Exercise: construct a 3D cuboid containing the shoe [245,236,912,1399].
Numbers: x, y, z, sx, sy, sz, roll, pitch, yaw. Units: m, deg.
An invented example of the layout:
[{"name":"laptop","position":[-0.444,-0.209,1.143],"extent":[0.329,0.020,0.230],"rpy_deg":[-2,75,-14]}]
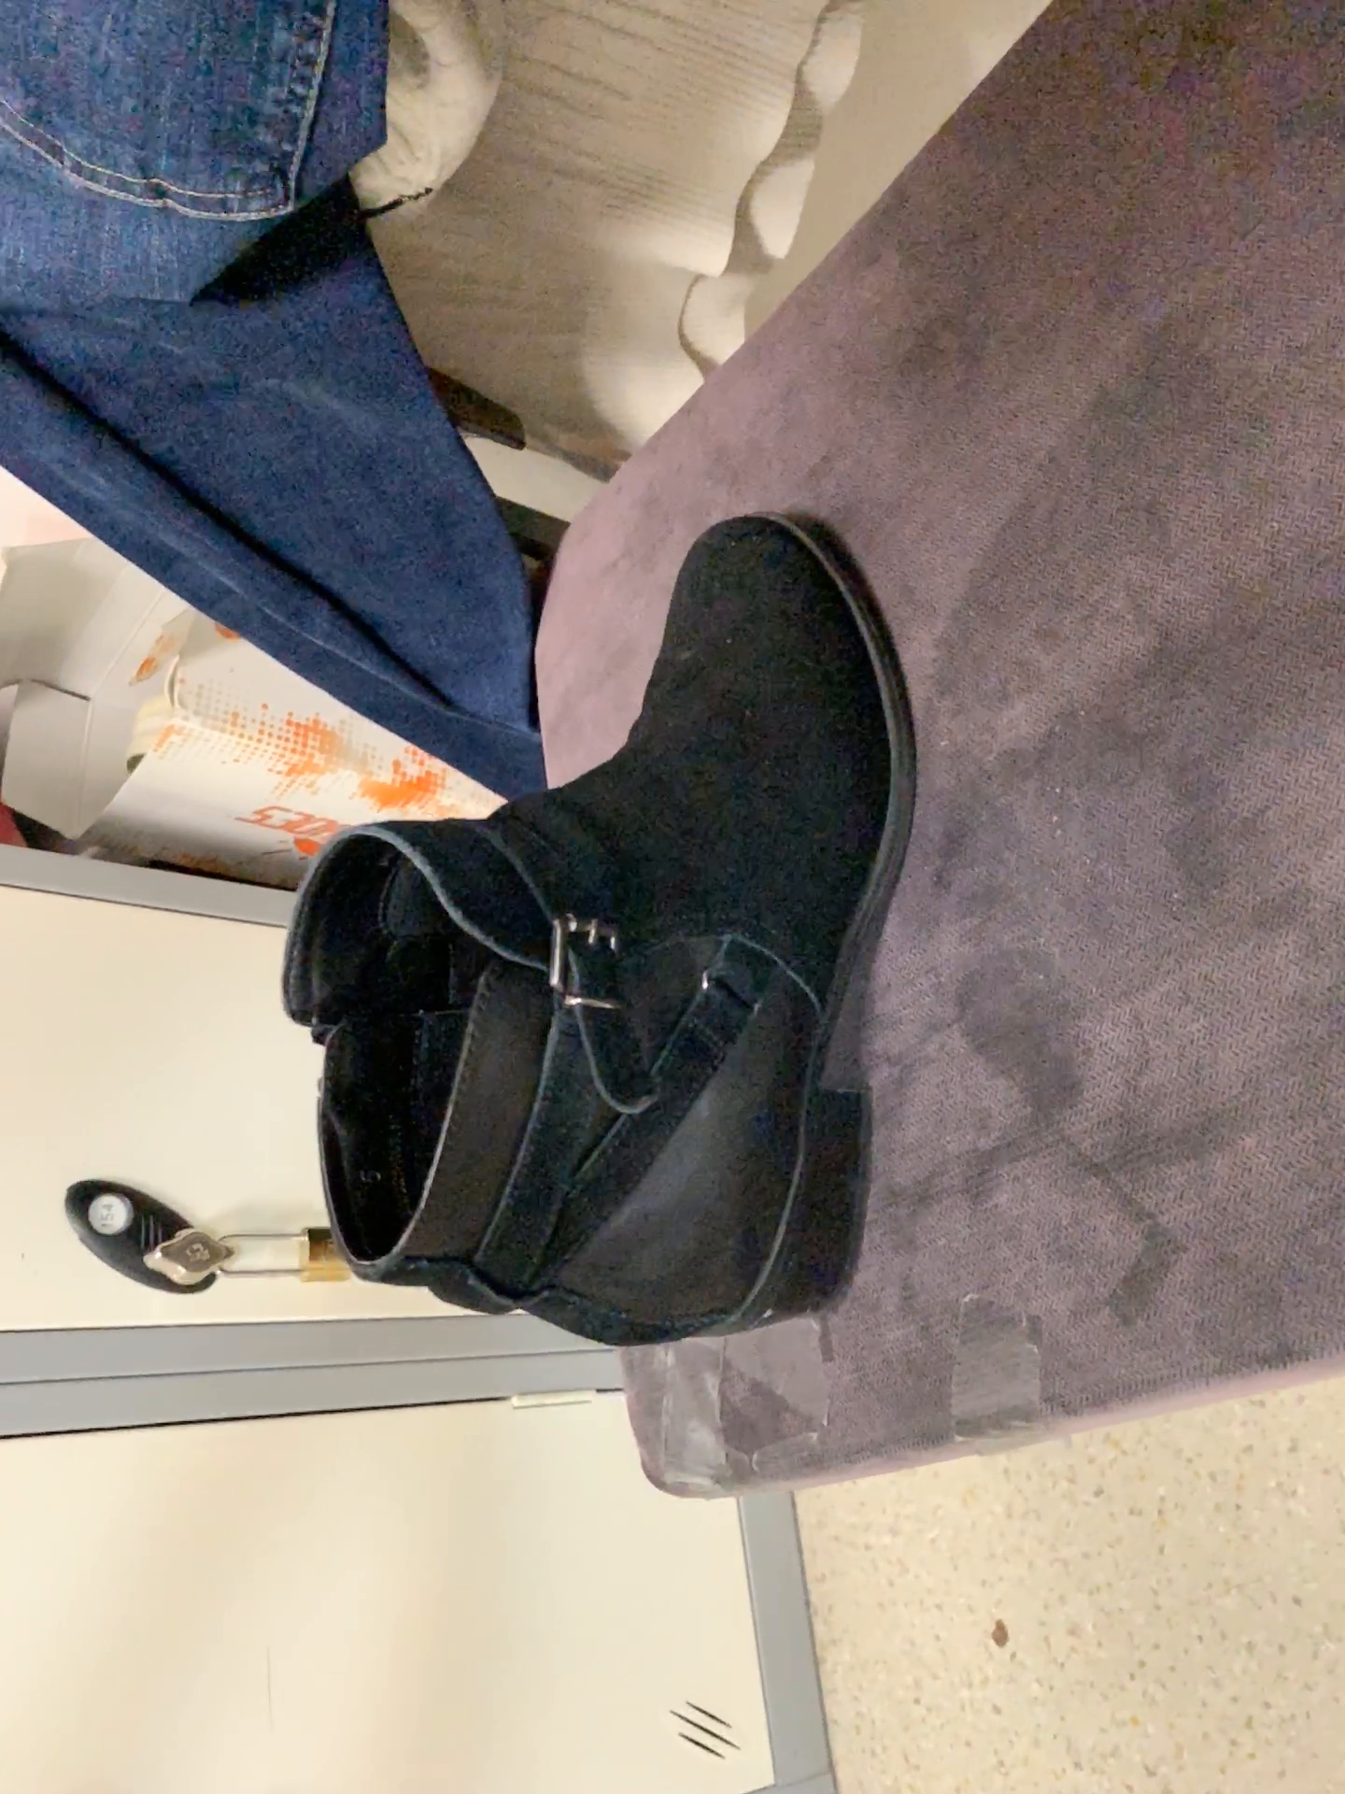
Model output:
[{"name":"shoe","position":[-0.019,-0.011,0.385],"extent":[0.106,0.135,0.265],"rpy_deg":[-12,71,50]}]
